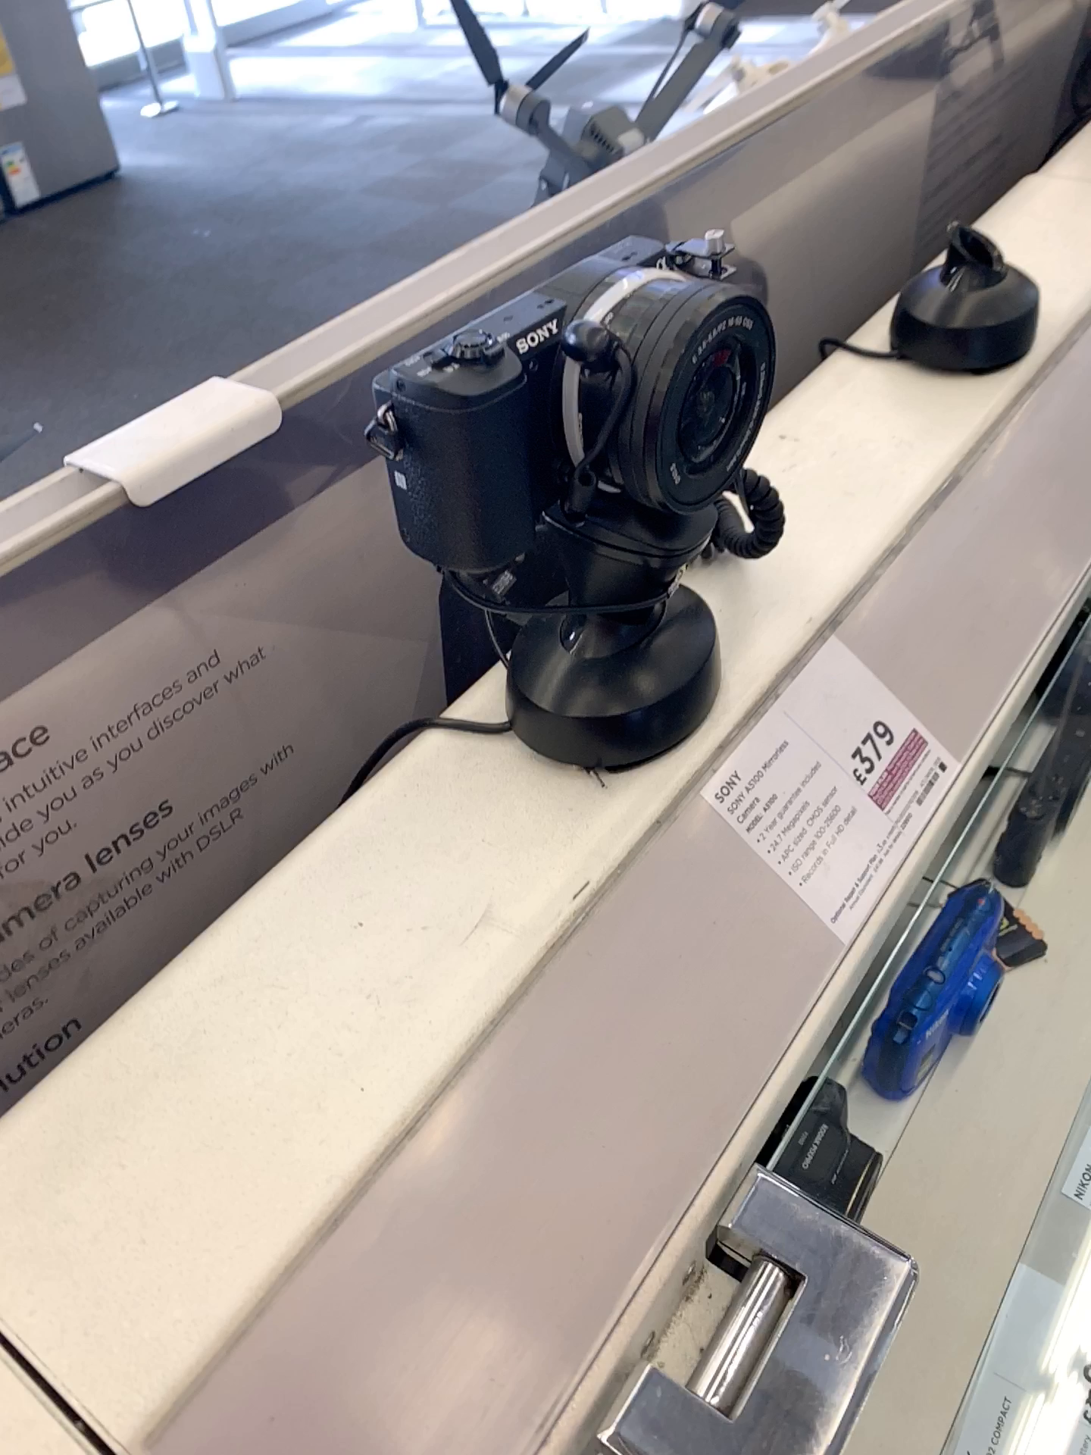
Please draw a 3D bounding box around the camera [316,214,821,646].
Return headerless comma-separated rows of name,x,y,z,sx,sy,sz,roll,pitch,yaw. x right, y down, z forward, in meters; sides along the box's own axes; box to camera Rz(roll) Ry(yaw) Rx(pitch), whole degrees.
camera,0.012,-0.092,0.323,0.080,0.059,0.121,25,51,31
